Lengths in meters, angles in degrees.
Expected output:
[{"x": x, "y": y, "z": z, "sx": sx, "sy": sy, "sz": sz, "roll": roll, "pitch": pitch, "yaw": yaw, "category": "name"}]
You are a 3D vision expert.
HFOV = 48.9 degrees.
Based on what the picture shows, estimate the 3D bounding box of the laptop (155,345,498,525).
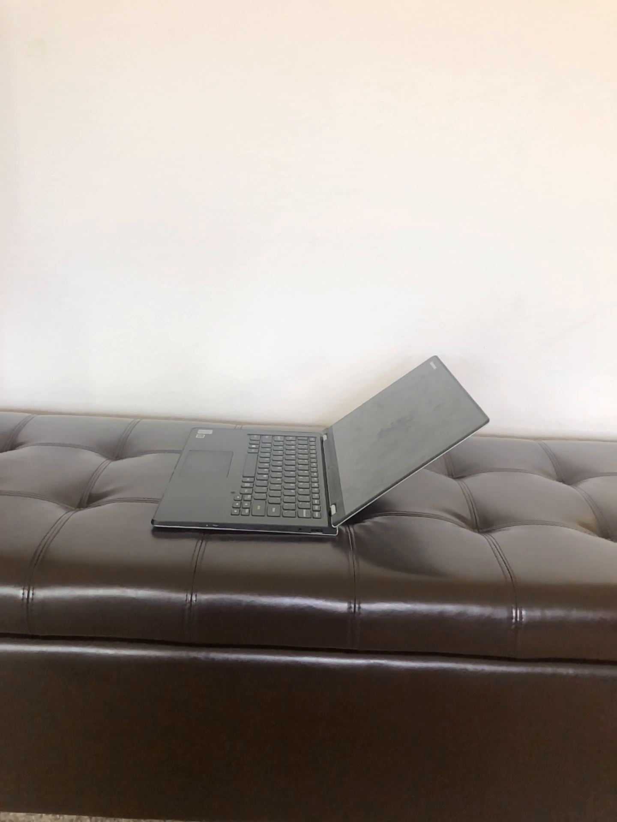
[{"x": 0.012, "y": 0.013, "z": 0.766, "sx": 0.317, "sy": 0.115, "sz": 0.262, "roll": 1, "pitch": 18, "yaw": -2, "category": "laptop"}]
